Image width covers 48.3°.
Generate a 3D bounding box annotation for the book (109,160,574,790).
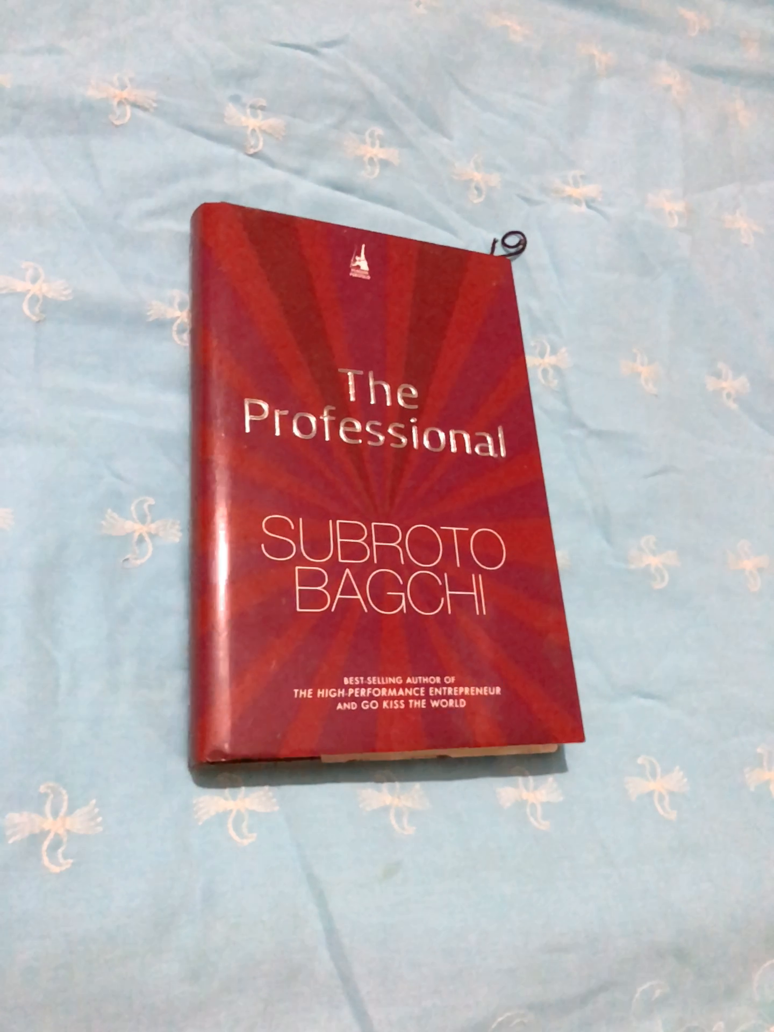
[{"bbox_3d":[-0.017,-0.017,0.320,0.150,0.030,0.220,5,68,-21],"label":"book"}]
